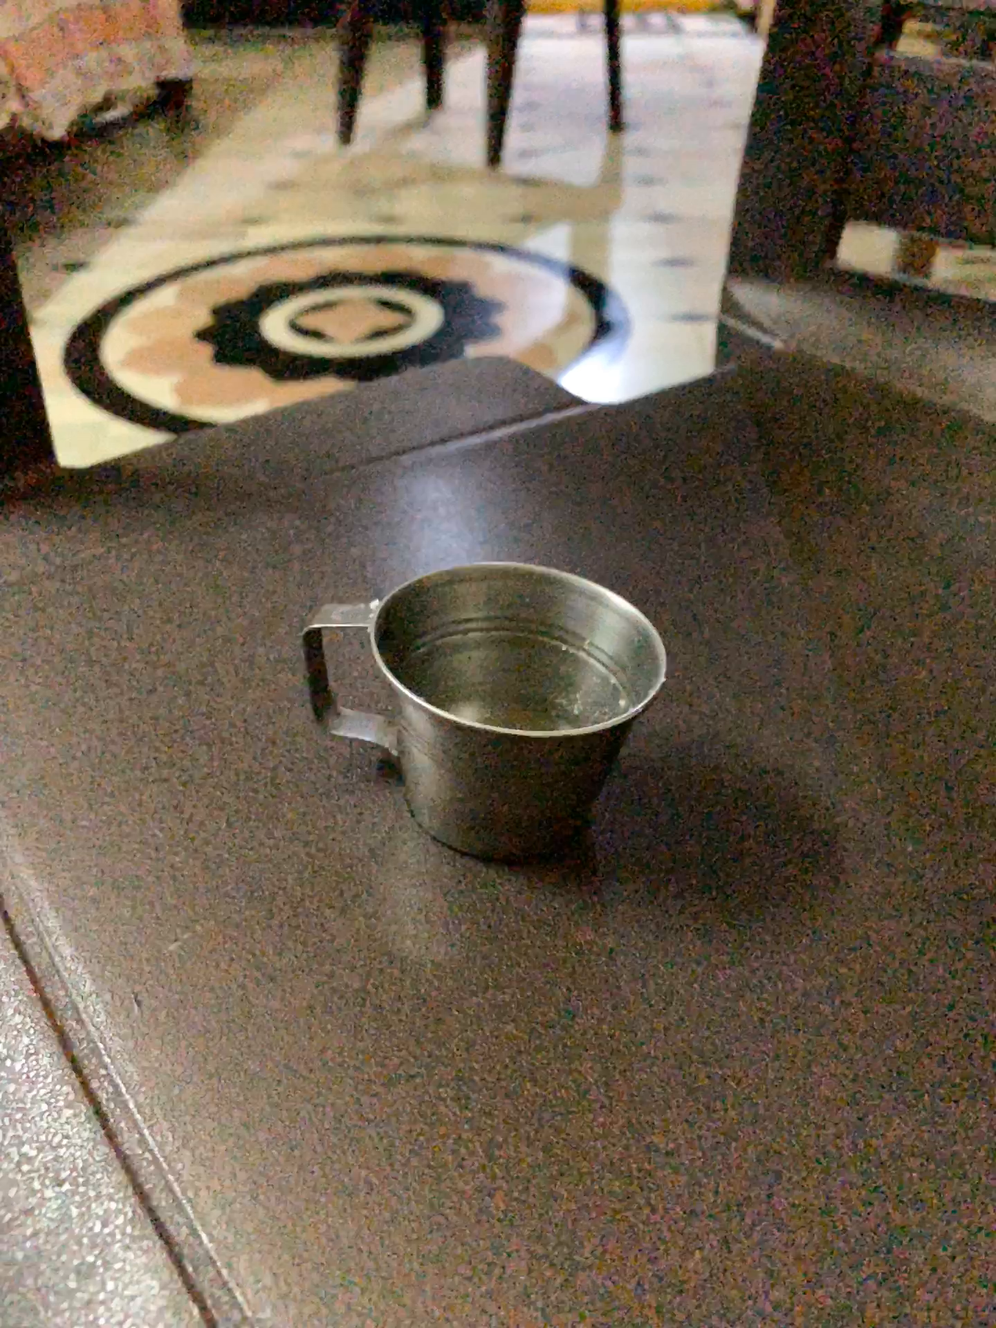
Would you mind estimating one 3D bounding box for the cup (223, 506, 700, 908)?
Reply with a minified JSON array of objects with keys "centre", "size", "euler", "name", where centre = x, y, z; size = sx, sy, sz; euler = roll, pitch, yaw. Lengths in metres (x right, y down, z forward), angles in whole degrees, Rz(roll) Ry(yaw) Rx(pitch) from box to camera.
[{"centre":[-0.004,0.006,0.215],"size":[0.080,0.040,0.060],"euler":[10,40,9],"name":"cup"}]
